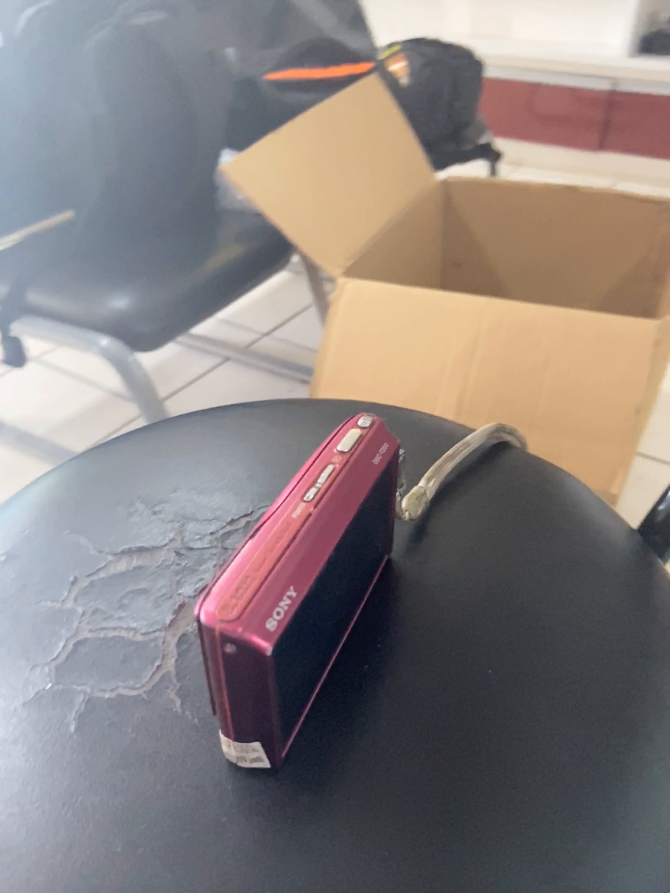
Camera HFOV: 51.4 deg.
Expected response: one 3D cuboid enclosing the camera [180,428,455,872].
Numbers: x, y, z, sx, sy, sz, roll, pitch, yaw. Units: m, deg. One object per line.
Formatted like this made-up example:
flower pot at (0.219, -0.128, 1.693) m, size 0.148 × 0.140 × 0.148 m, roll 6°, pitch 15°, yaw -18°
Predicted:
camera at (0.003, 0.050, 0.195) m, size 0.030 × 0.060 × 0.101 m, roll 14°, pitch 40°, yaw 20°
